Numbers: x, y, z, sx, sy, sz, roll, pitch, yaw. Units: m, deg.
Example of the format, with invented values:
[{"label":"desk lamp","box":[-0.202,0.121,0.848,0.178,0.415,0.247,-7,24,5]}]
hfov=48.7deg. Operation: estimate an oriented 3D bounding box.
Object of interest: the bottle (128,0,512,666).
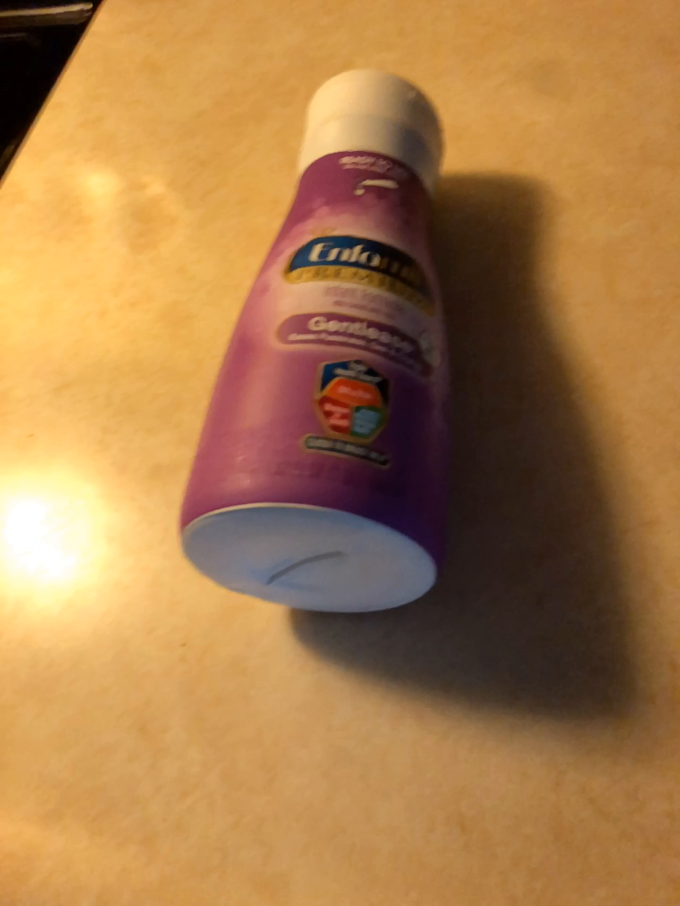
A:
[{"label":"bottle","box":[0.004,-0.073,0.300,0.090,0.100,0.280,11,62,-3]}]
